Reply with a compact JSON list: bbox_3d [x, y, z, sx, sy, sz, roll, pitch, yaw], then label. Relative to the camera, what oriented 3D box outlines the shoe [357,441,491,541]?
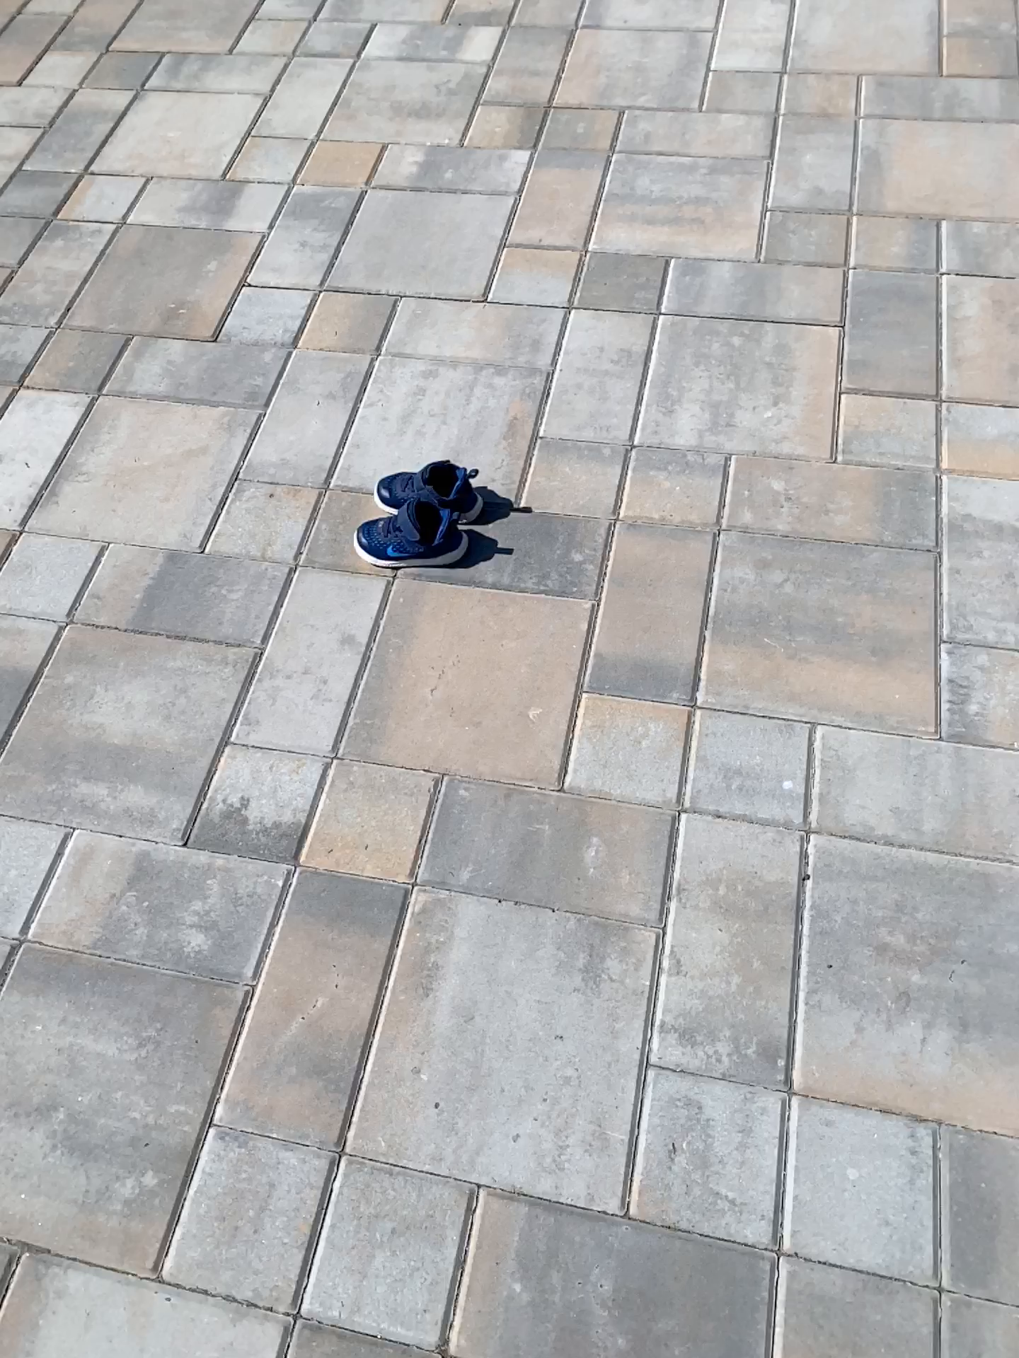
[{"bbox_3d":[-0.125,-0.280,1.548,0.170,0.090,0.090,9,59,11],"label":"shoe"}]

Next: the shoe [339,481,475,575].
[{"bbox_3d":[-0.143,-0.215,1.481,0.170,0.090,0.090,3,58,7],"label":"shoe"}]
